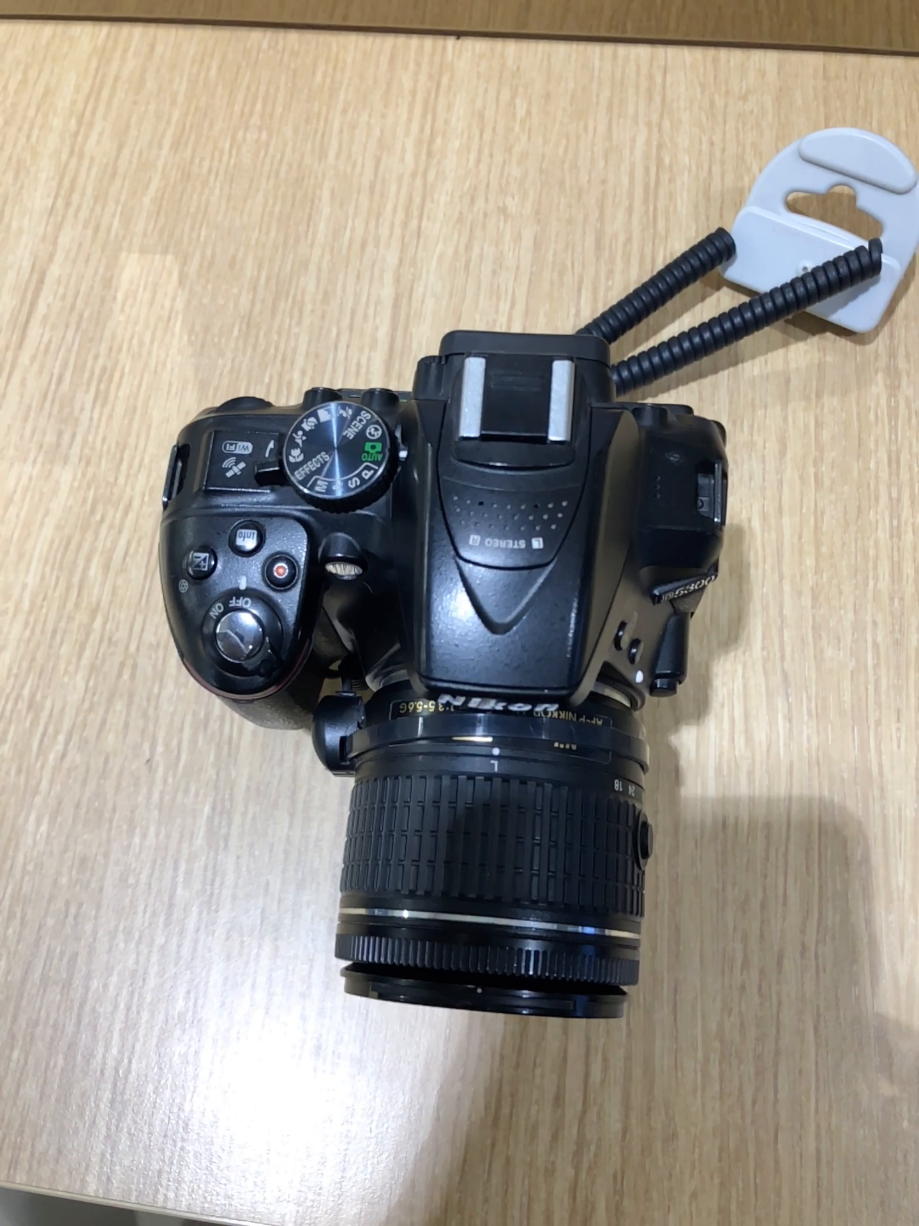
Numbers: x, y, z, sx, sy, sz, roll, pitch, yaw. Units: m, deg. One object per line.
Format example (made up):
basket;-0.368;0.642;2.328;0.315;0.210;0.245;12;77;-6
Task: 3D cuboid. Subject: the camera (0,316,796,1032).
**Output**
camera;-0.007;0.018;0.210;0.120;0.103;0.110;3;71;5
